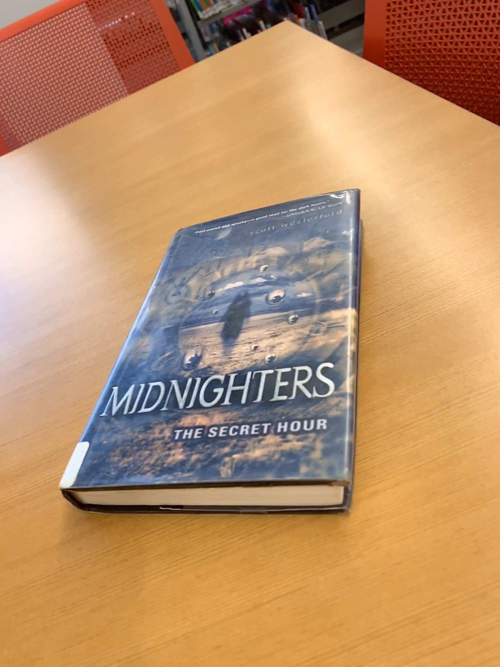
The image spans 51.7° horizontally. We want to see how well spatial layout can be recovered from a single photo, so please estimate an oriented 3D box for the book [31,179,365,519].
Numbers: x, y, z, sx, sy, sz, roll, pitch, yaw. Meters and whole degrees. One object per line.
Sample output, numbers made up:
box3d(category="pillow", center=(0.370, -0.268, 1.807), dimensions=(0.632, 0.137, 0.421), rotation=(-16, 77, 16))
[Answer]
box3d(category="book", center=(-0.012, -0.002, 0.308), dimensions=(0.150, 0.040, 0.215), rotation=(-8, 43, 21))
